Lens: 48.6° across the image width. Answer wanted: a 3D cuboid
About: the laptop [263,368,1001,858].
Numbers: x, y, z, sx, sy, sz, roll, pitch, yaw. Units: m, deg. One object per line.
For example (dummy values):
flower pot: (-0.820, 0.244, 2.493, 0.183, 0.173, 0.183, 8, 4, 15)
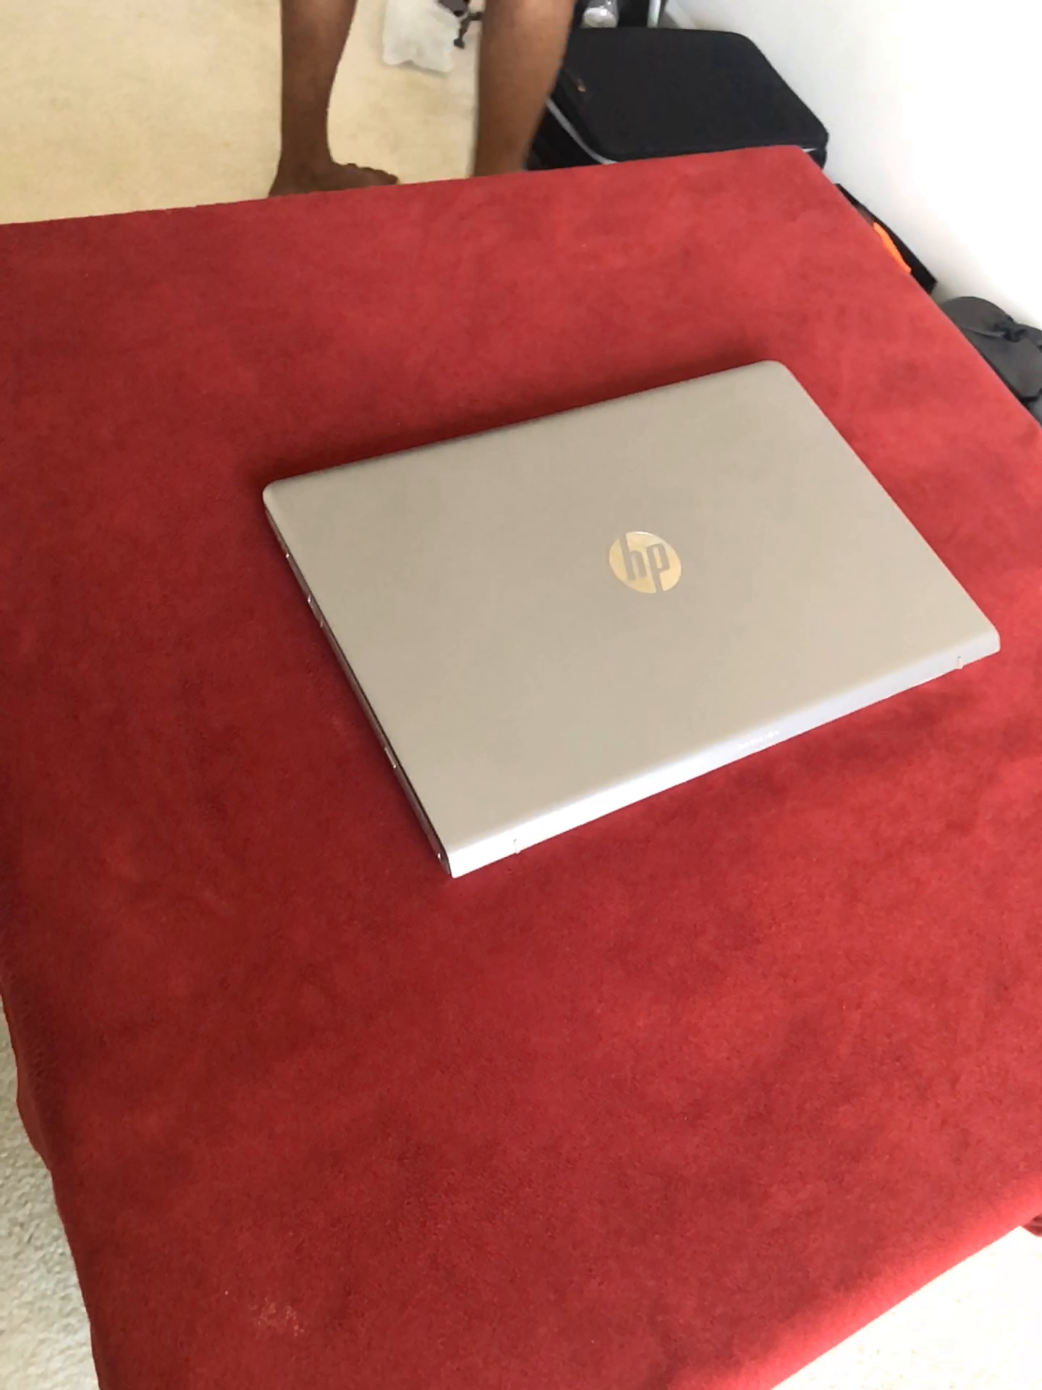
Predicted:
laptop: (0.072, -0.073, 0.664, 0.372, 0.006, 0.234, -19, 63, -24)
